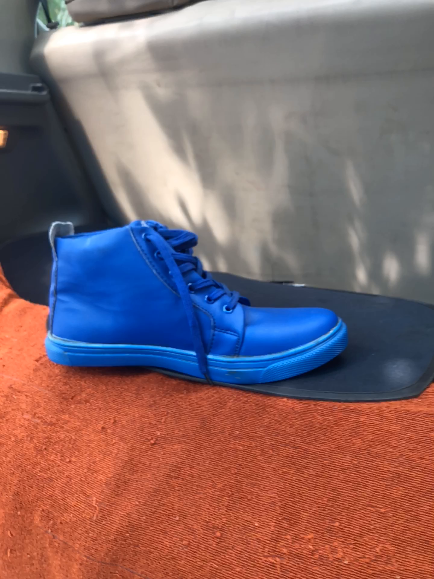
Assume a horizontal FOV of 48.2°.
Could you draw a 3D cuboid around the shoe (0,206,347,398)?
[{"bbox_3d":[-0.035,0.001,0.451,0.290,0.139,0.100,2,19,11],"label":"shoe"}]
